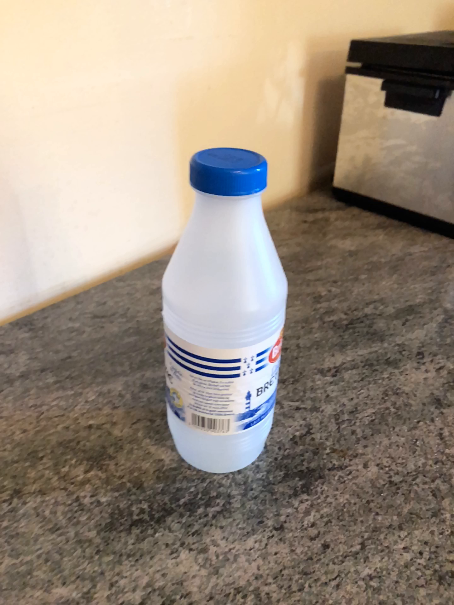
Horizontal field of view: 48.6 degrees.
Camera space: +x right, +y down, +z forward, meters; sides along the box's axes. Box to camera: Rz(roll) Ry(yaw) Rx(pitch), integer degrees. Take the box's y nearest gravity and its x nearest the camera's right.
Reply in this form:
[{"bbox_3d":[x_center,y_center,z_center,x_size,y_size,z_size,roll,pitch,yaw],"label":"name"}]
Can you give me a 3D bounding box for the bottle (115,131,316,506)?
[{"bbox_3d":[-0.004,0.016,0.355,0.090,0.239,0.091,1,31,0],"label":"bottle"}]
